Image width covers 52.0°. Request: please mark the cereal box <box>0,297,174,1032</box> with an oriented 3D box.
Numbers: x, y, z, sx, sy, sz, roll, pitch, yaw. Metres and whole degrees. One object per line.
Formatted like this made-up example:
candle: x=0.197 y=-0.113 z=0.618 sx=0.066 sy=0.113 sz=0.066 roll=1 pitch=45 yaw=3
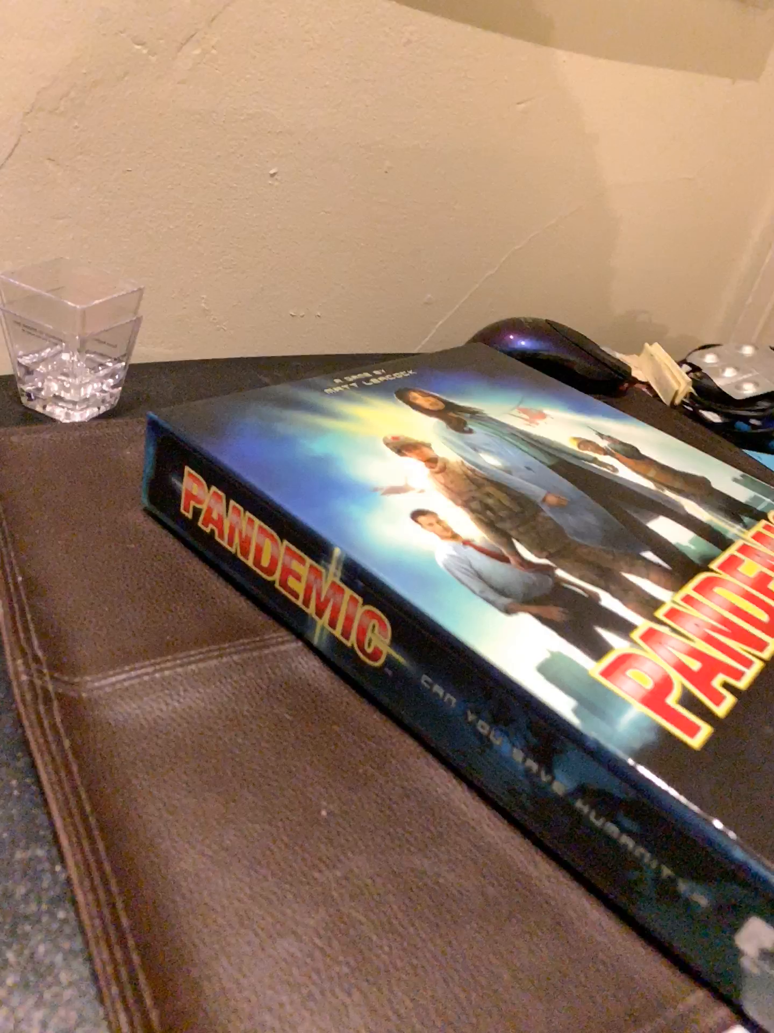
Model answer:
cereal box: x=-0.599 y=0.378 z=0.845 sx=0.510 sy=0.994 sz=0.473 roll=16 pitch=32 yaw=4
